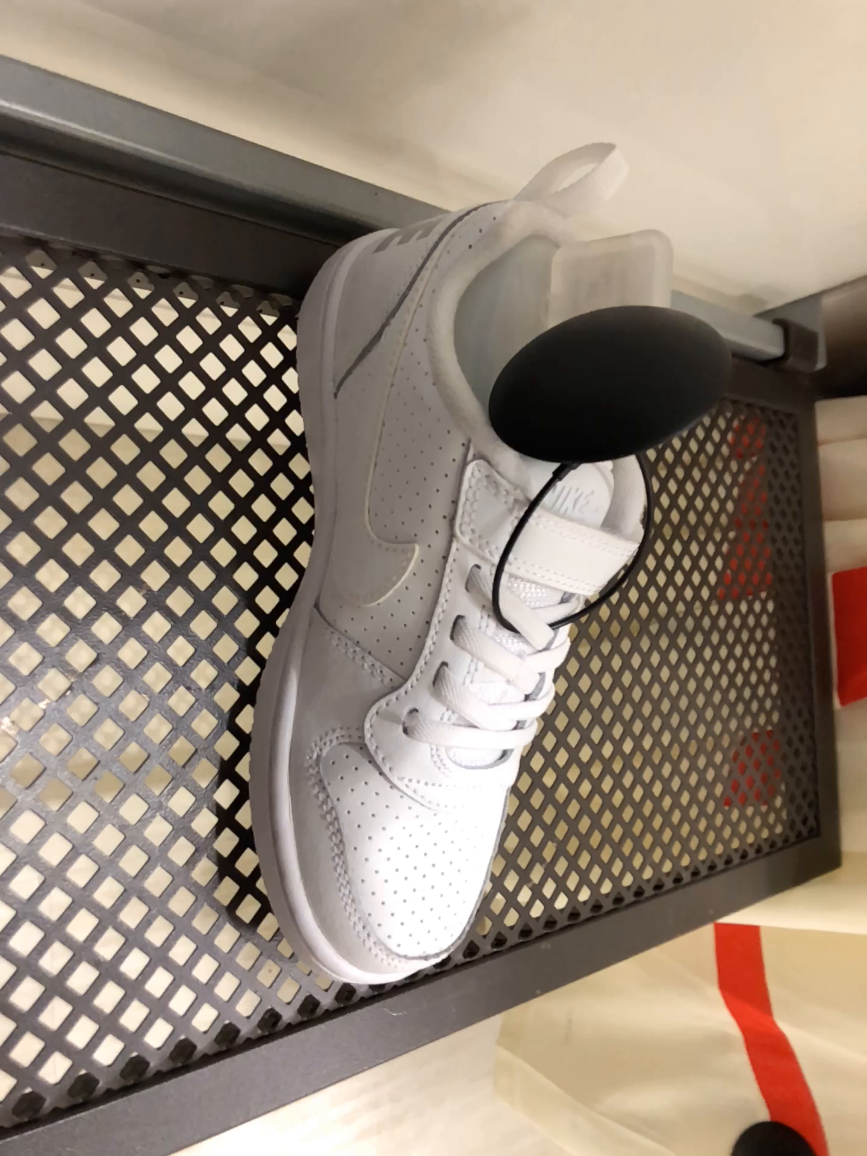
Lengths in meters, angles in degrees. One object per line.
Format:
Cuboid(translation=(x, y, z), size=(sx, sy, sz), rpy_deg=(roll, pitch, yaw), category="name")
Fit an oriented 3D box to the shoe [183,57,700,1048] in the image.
Cuboid(translation=(0.001, -0.003, 0.254), size=(0.080, 0.099, 0.200), rpy_deg=(10, 76, -41), category="shoe")
